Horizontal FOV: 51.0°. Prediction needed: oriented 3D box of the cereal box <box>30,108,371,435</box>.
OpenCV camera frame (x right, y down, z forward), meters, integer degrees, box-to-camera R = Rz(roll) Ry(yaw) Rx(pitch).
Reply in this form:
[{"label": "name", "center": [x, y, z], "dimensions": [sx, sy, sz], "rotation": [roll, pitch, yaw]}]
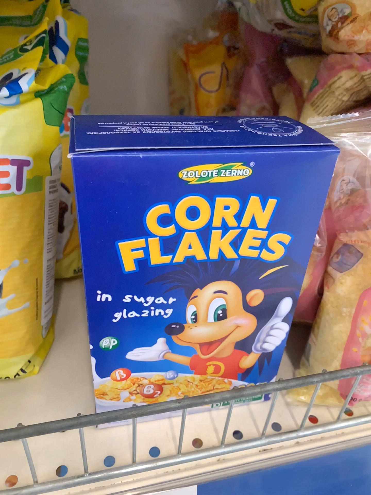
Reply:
[{"label": "cereal box", "center": [0.004, 0.016, 0.201], "dimensions": [0.130, 0.159, 0.050], "rotation": [-4, 35, -13]}]
